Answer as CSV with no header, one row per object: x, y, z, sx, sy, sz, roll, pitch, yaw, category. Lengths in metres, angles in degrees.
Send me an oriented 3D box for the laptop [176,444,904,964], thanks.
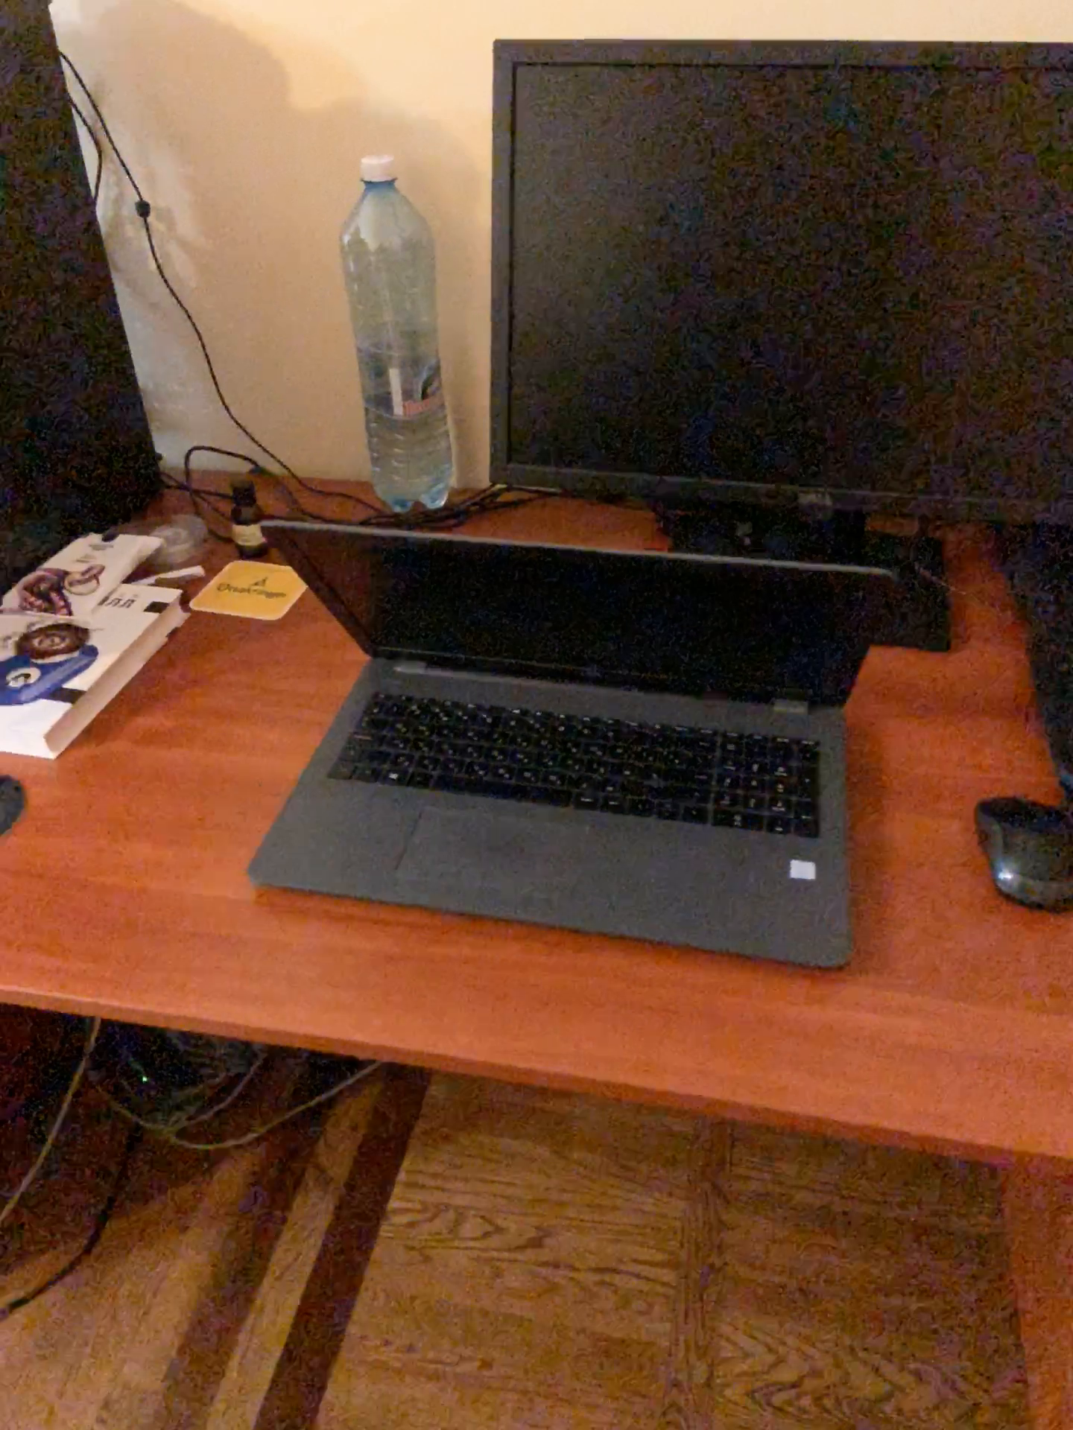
0.017,-0.026,0.711,0.385,0.193,0.246,6,38,11,laptop
